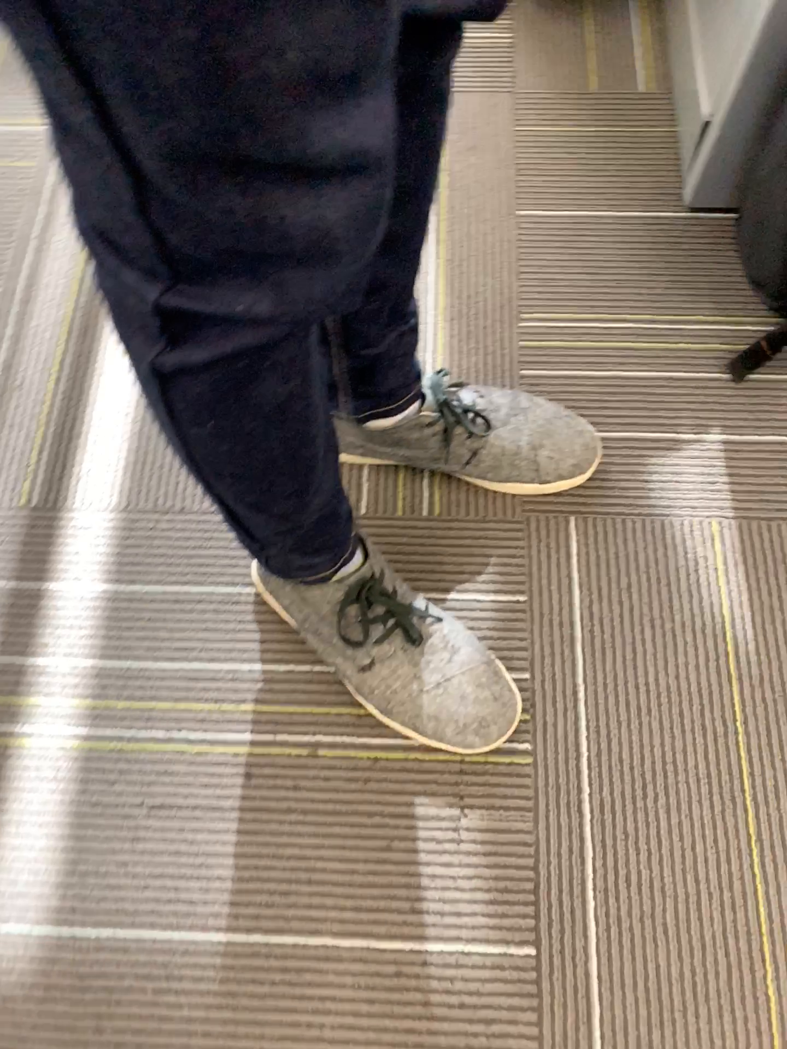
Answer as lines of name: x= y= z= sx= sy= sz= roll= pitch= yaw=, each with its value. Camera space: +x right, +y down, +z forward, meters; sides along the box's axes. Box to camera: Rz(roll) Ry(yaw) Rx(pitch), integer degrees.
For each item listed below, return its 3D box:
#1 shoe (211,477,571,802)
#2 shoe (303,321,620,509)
shoe: x=-0.005 y=0.102 z=0.746 sx=0.299 sy=0.087 sz=0.134 roll=34 pitch=71 yaw=17
shoe: x=0.072 y=-0.115 z=0.840 sx=0.301 sy=0.087 sz=0.134 roll=8 pitch=66 yaw=6
